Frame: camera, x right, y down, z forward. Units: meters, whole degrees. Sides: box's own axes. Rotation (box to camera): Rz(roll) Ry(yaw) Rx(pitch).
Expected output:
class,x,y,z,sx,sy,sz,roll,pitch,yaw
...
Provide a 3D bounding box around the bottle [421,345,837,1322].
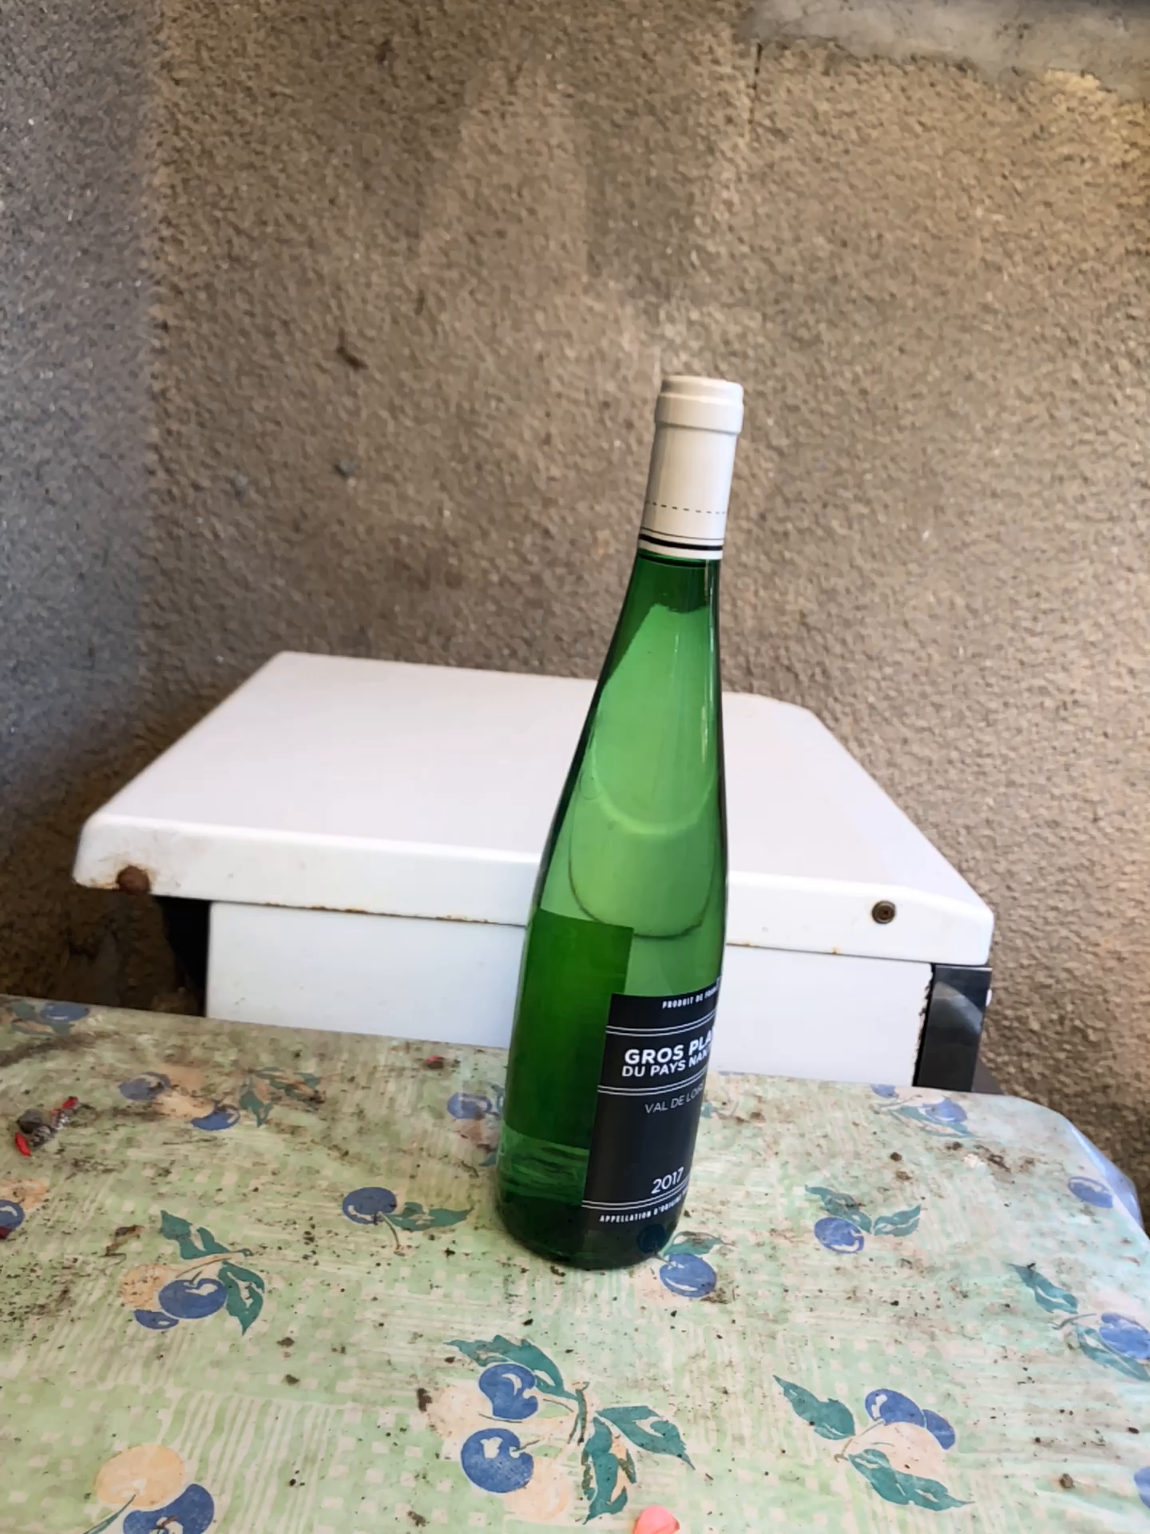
class,x,y,z,sx,sy,sz,roll,pitch,yaw
bottle,0.014,0.025,0.478,0.080,0.339,0.080,7,14,-2
